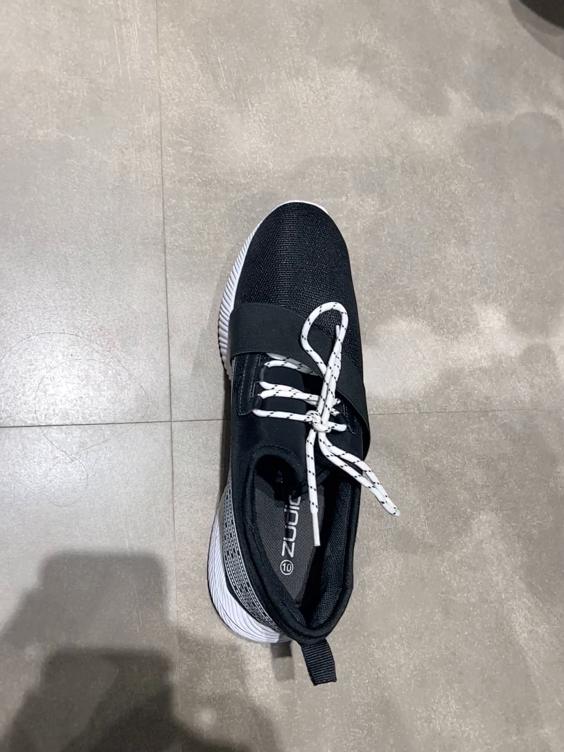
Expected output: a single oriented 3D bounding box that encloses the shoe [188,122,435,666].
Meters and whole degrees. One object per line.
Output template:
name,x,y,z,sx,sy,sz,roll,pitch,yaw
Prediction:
shoe,0.013,0.013,0.395,0.116,0.132,0.304,5,76,-17
